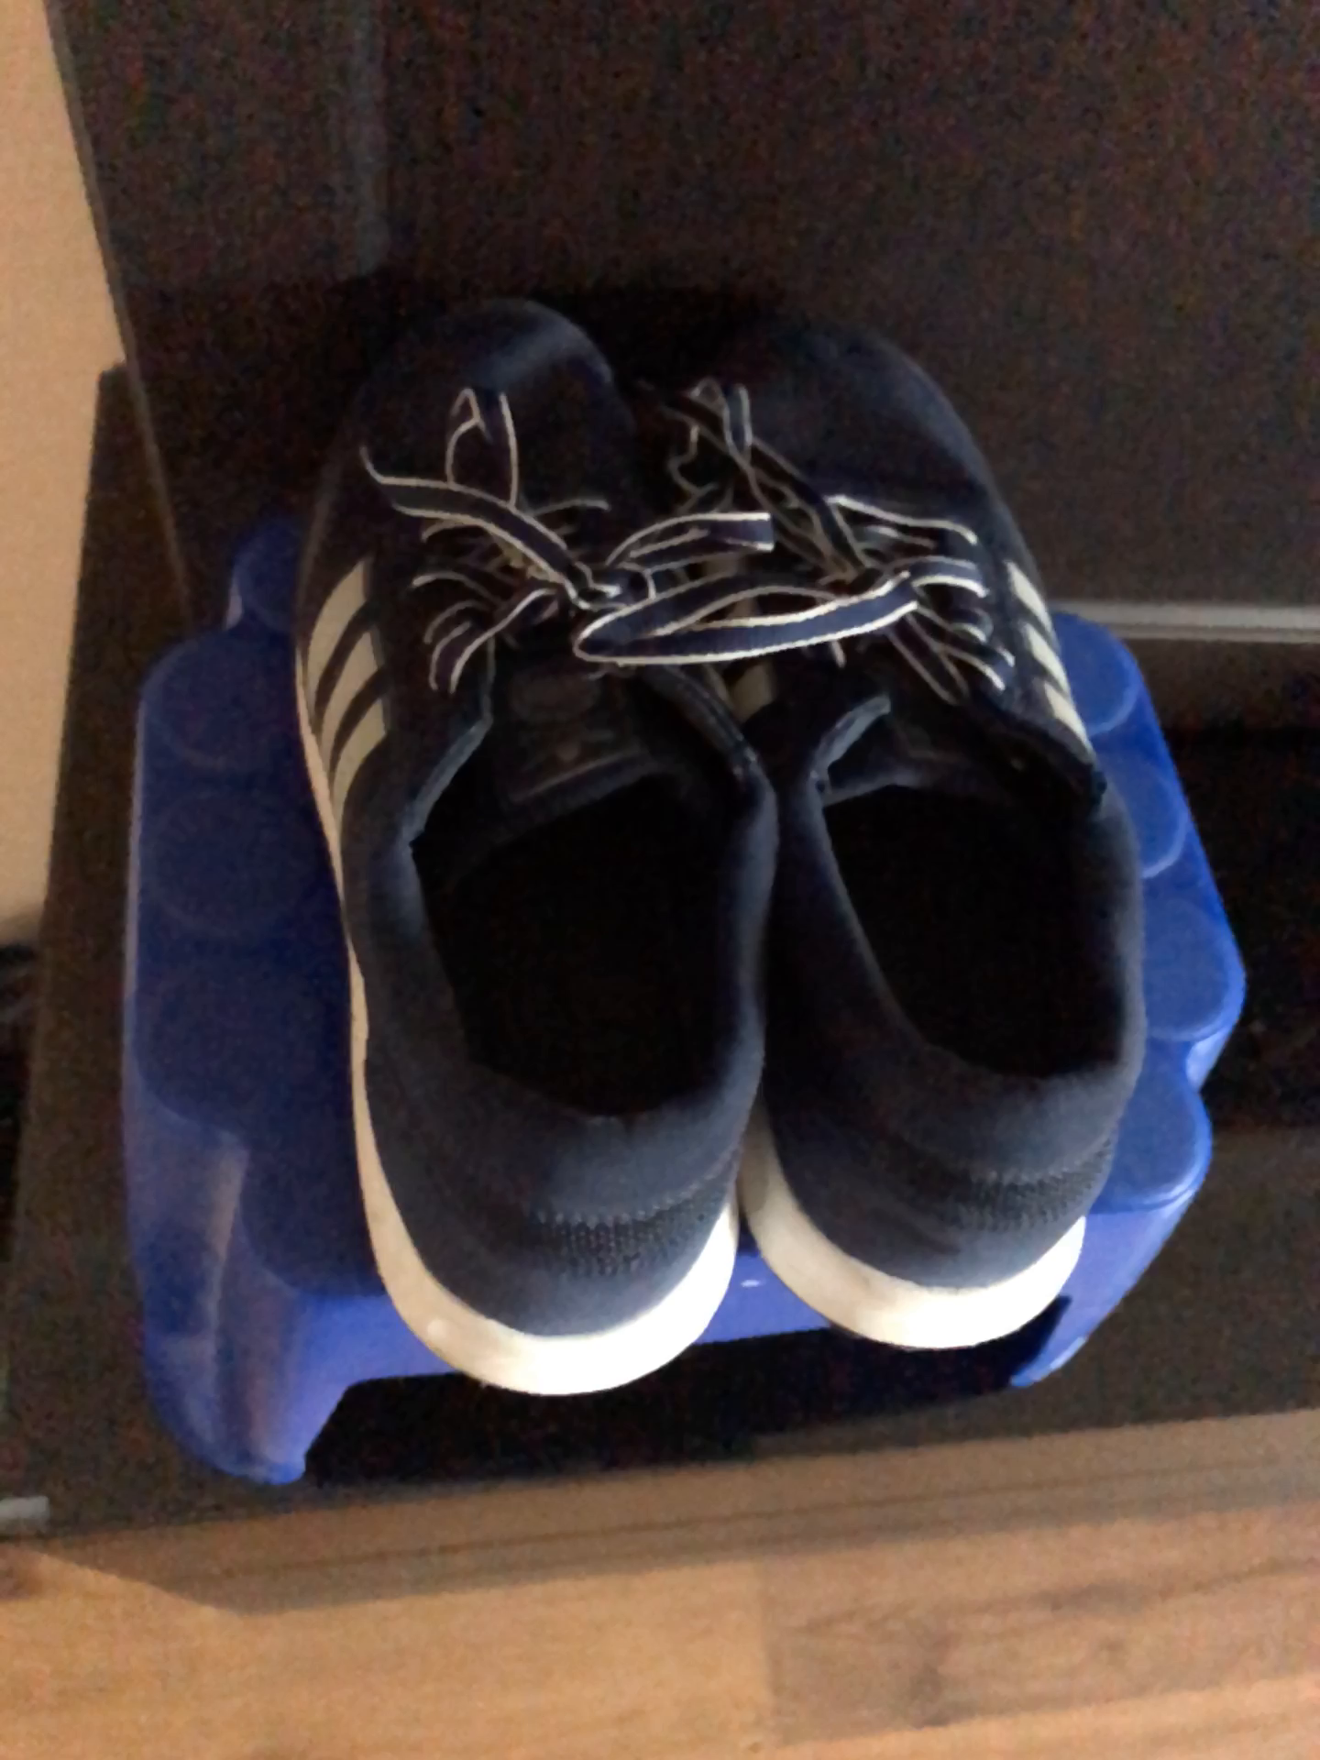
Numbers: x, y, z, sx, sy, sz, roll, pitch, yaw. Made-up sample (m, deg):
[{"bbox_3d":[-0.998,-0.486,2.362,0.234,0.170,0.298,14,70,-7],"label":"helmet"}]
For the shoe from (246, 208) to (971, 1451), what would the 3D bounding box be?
[{"bbox_3d":[-0.030,-0.021,0.342,0.110,0.109,0.261,-4,62,-11],"label":"shoe"}]

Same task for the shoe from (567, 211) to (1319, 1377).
[{"bbox_3d":[0.046,-0.028,0.363,0.110,0.109,0.261,-2,62,-10],"label":"shoe"}]
